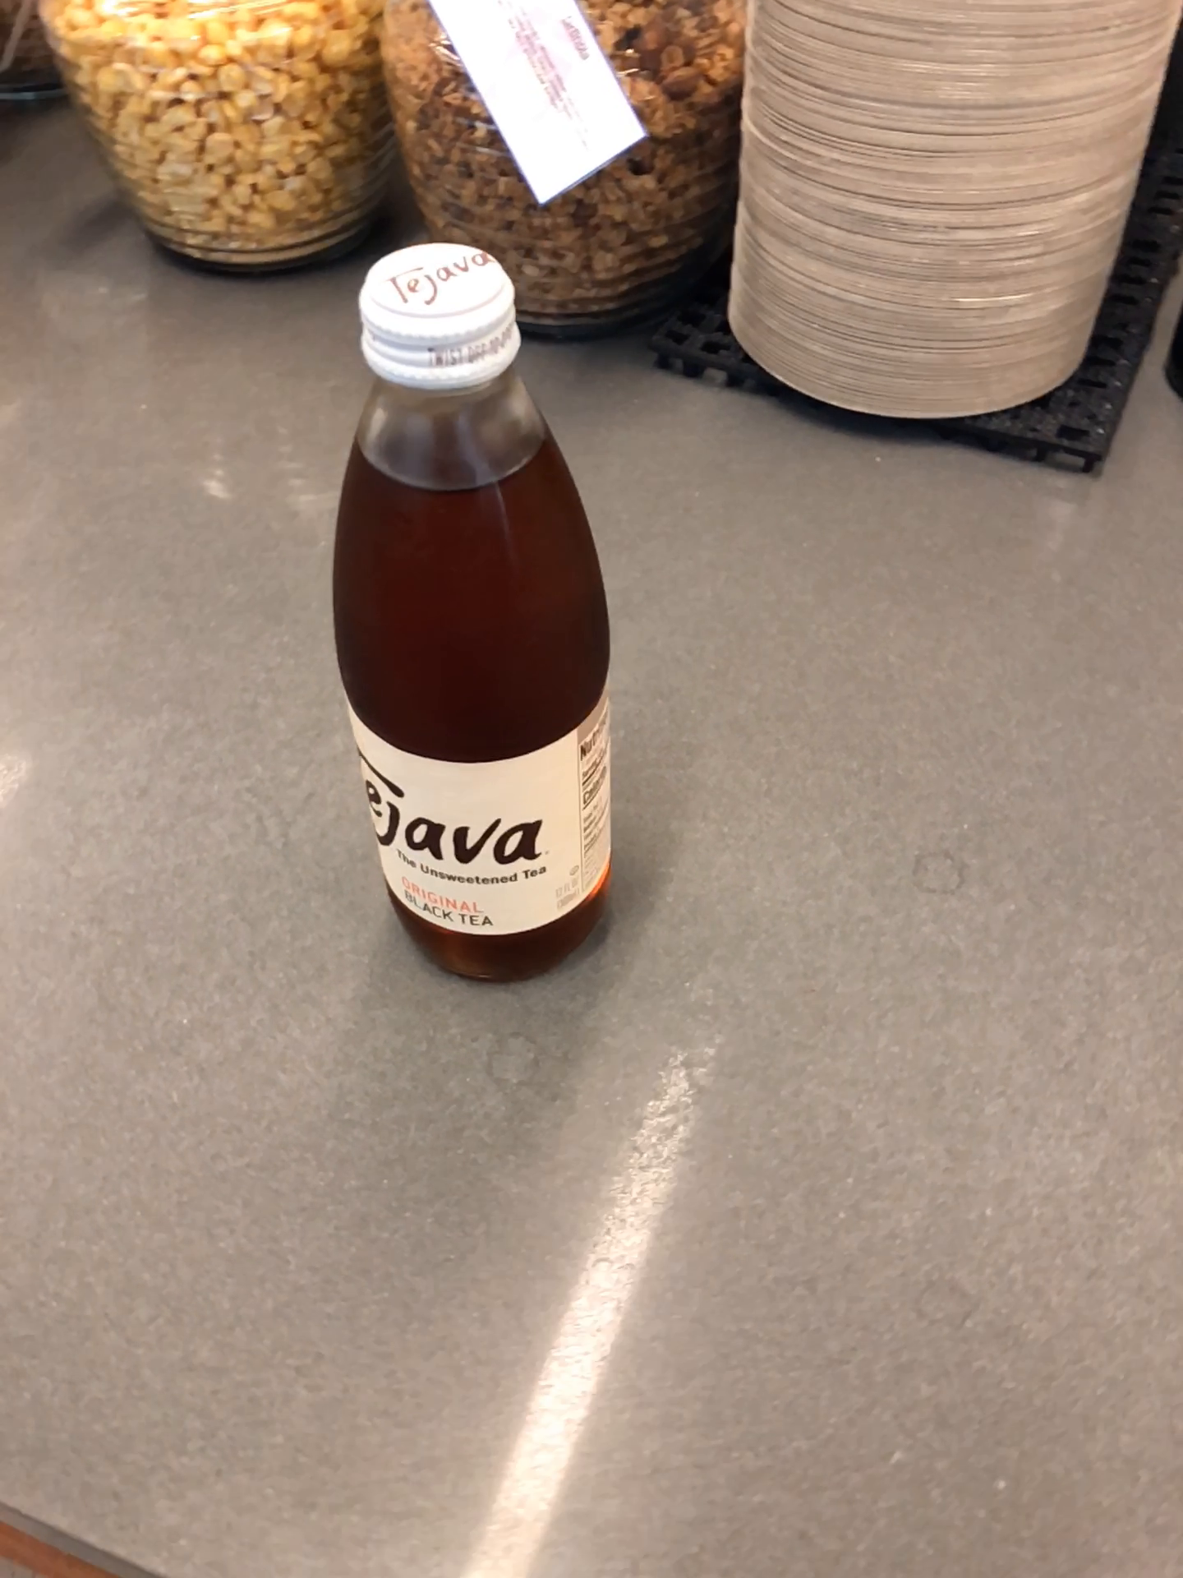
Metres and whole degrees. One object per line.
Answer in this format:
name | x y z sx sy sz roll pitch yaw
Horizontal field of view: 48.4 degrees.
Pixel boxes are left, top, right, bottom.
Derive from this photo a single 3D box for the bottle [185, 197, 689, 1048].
bottle | -0.026 -0.027 0.314 0.070 0.189 0.070 0 48 0
